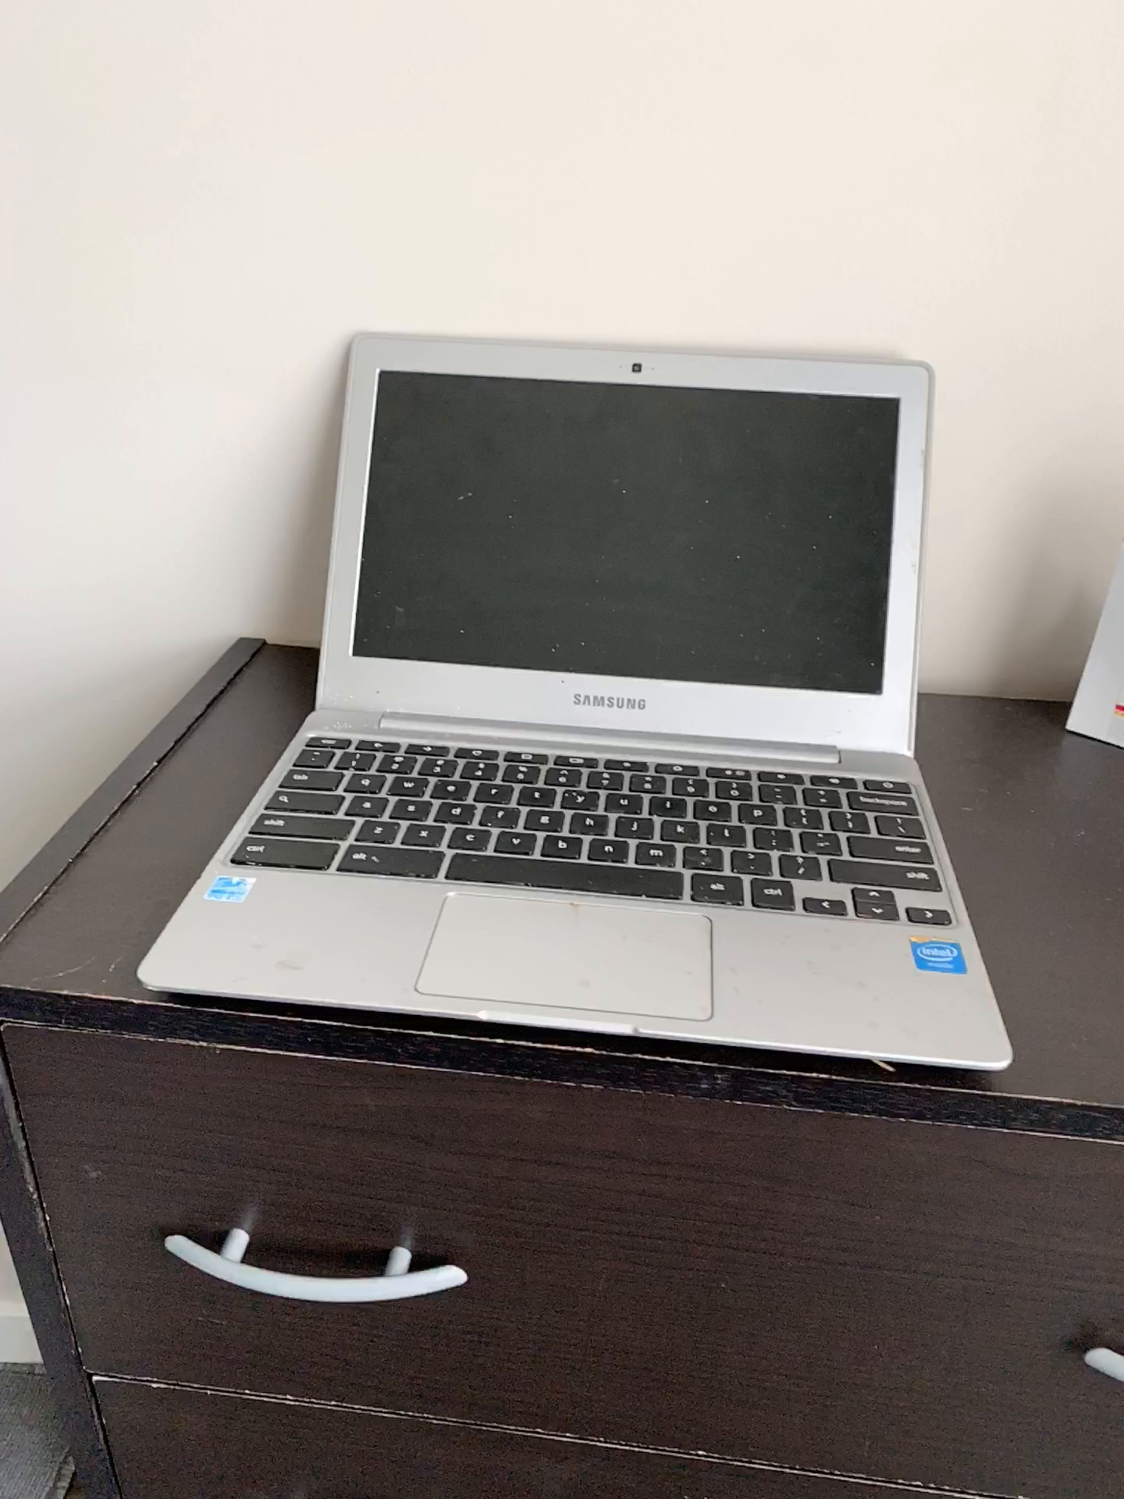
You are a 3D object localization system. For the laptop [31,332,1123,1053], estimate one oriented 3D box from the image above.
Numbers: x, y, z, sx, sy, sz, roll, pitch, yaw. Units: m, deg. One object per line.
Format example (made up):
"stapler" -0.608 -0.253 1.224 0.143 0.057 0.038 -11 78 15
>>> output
"laptop" 0.017 -0.059 0.477 0.291 0.153 0.319 4 29 4
